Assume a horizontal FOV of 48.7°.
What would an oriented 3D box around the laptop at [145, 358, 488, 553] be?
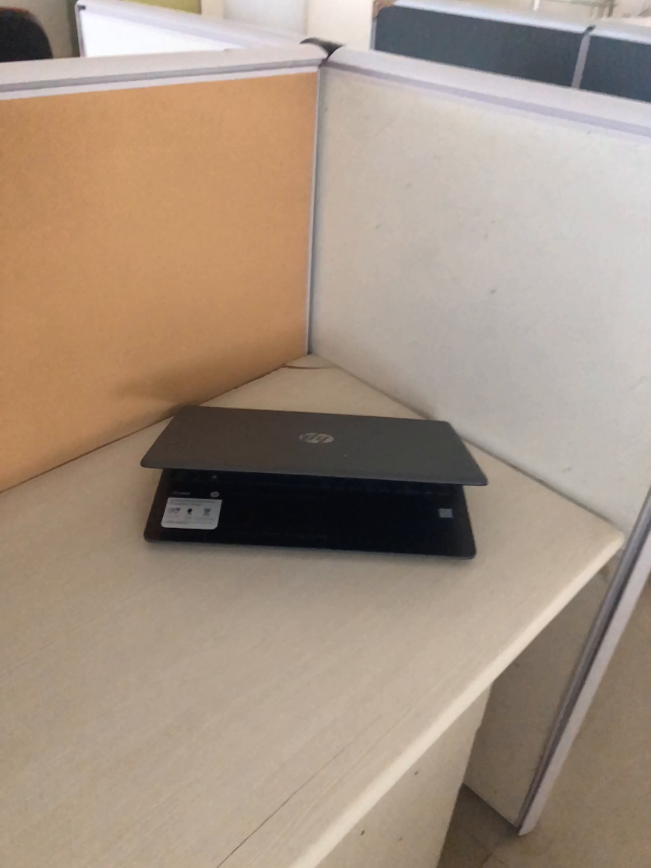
[{"bbox_3d":[-0.011,0.017,0.873,0.361,0.074,0.239,3,39,-1],"label":"laptop"}]
